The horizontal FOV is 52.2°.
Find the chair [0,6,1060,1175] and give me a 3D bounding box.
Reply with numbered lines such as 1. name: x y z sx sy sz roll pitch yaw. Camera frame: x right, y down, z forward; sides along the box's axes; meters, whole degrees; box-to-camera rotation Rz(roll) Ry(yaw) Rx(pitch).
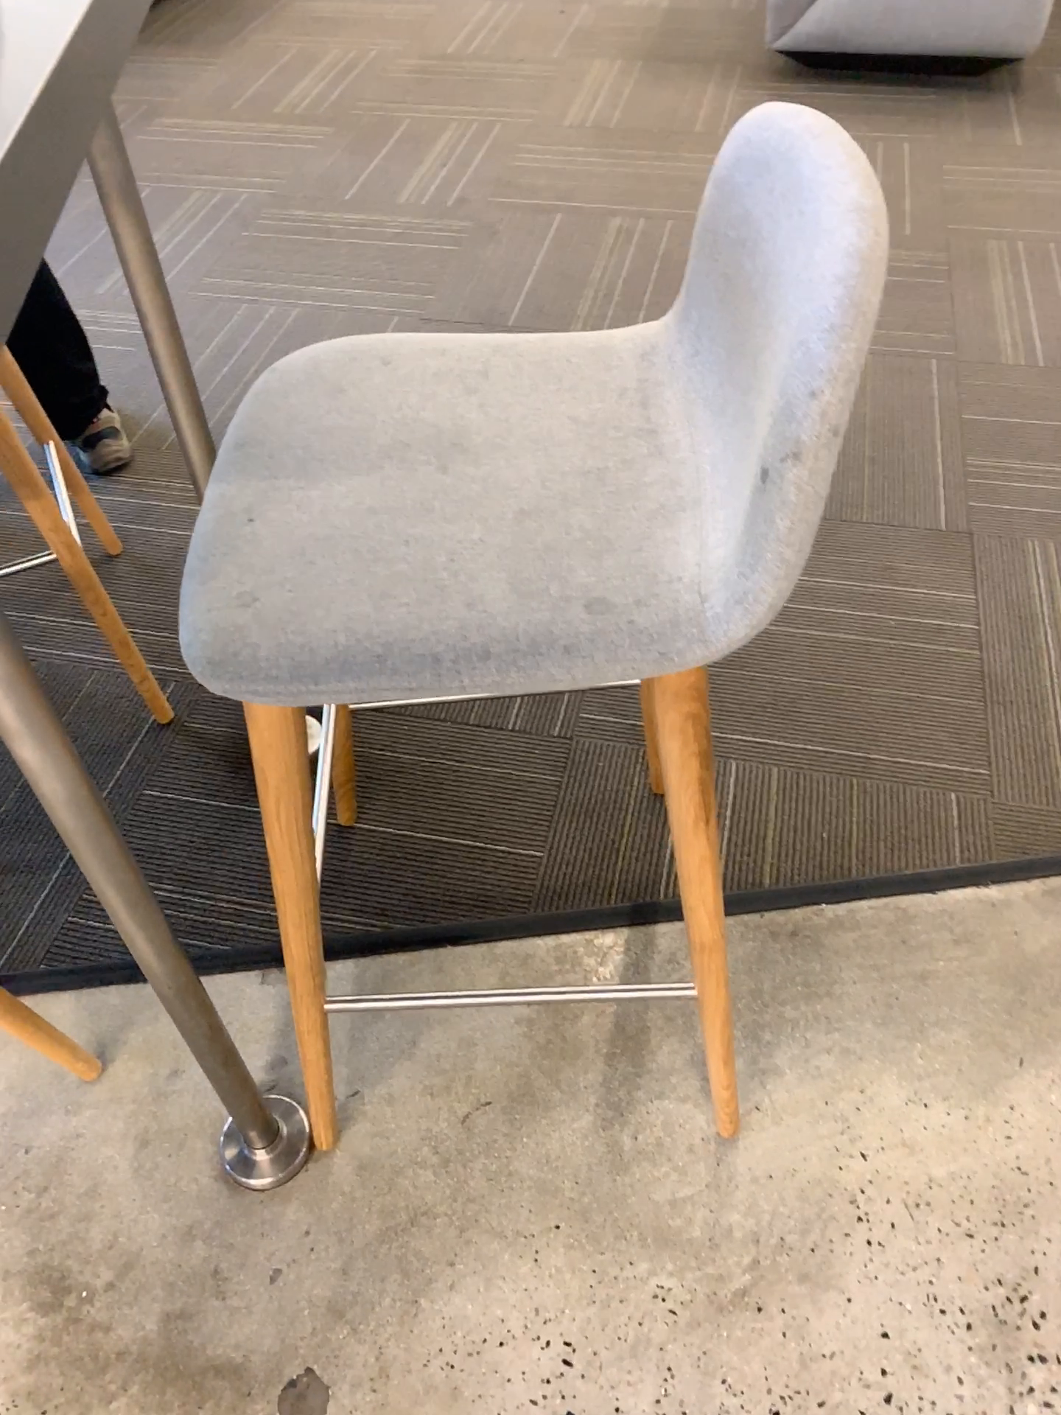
1. chair: -0.018 -0.038 1.040 0.550 0.925 0.593 -3 47 -1
